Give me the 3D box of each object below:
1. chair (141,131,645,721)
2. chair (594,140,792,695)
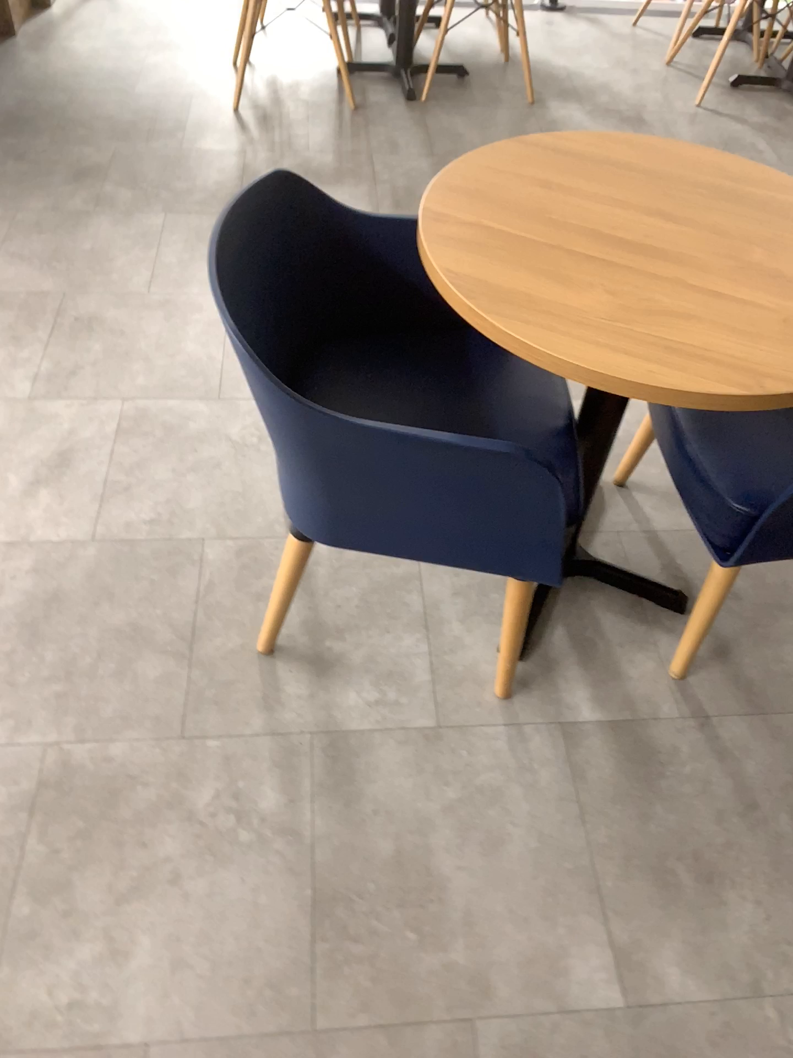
[{"bbox_3d":[-0.011,-0.139,1.339,0.547,0.735,0.567,5,48,-1],"label":"chair"},{"bbox_3d":[0.765,-0.162,1.390,0.557,0.735,0.567,-1,48,-5],"label":"chair"}]
